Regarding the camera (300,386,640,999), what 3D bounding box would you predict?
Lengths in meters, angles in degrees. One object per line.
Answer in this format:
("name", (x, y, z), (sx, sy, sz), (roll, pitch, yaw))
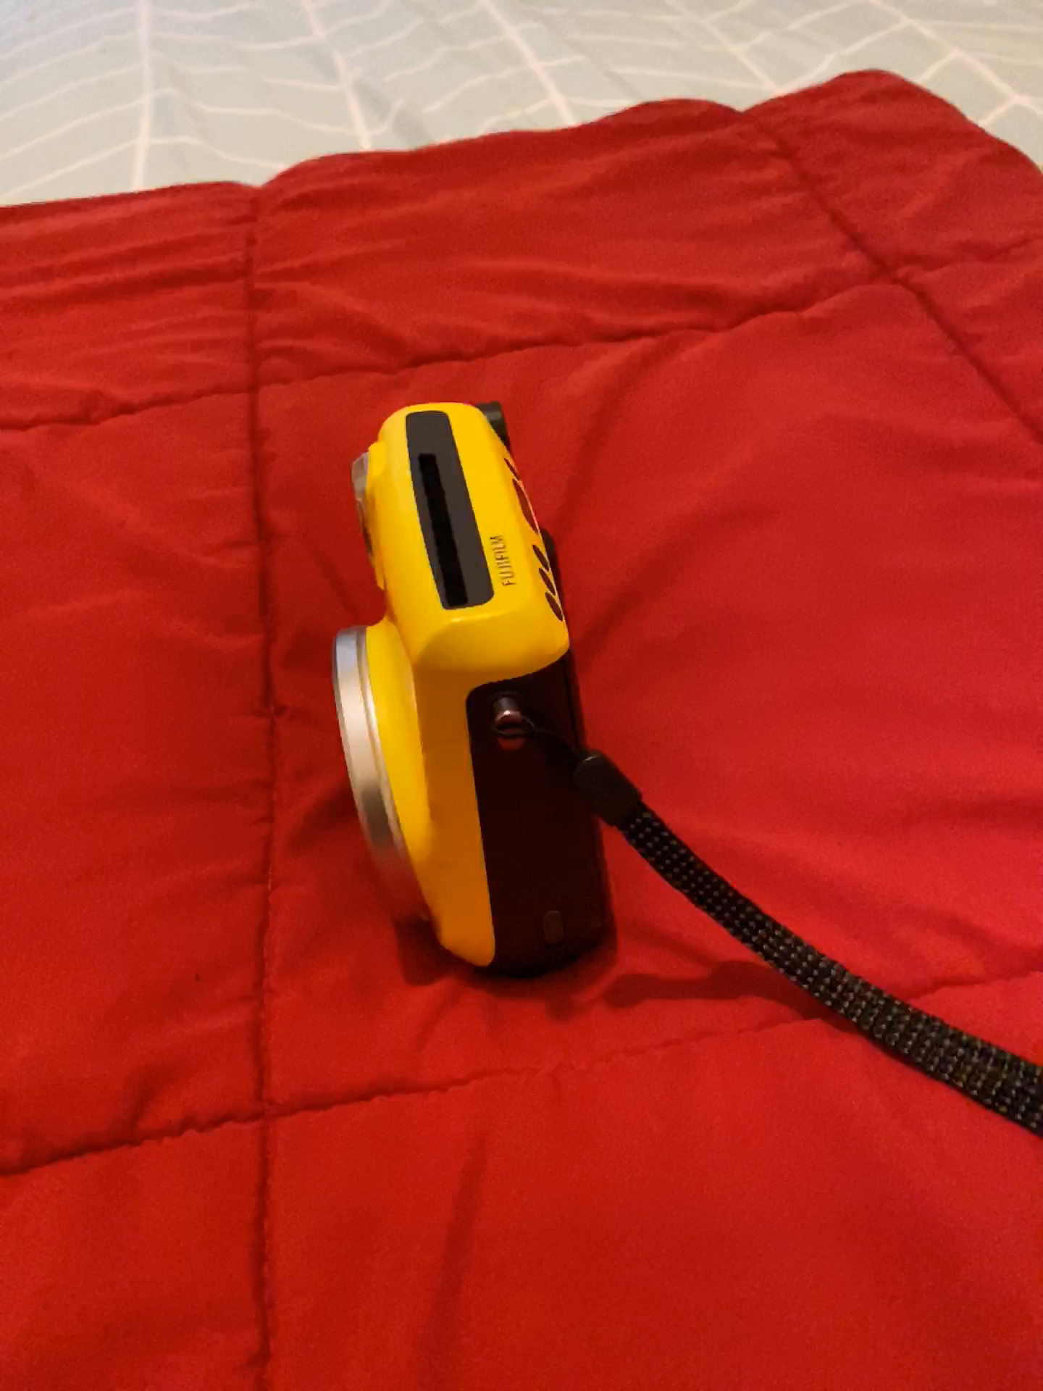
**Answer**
("camera", (-0.012, -0.001, 0.261), (0.057, 0.103, 0.096), (-11, 43, -3))
